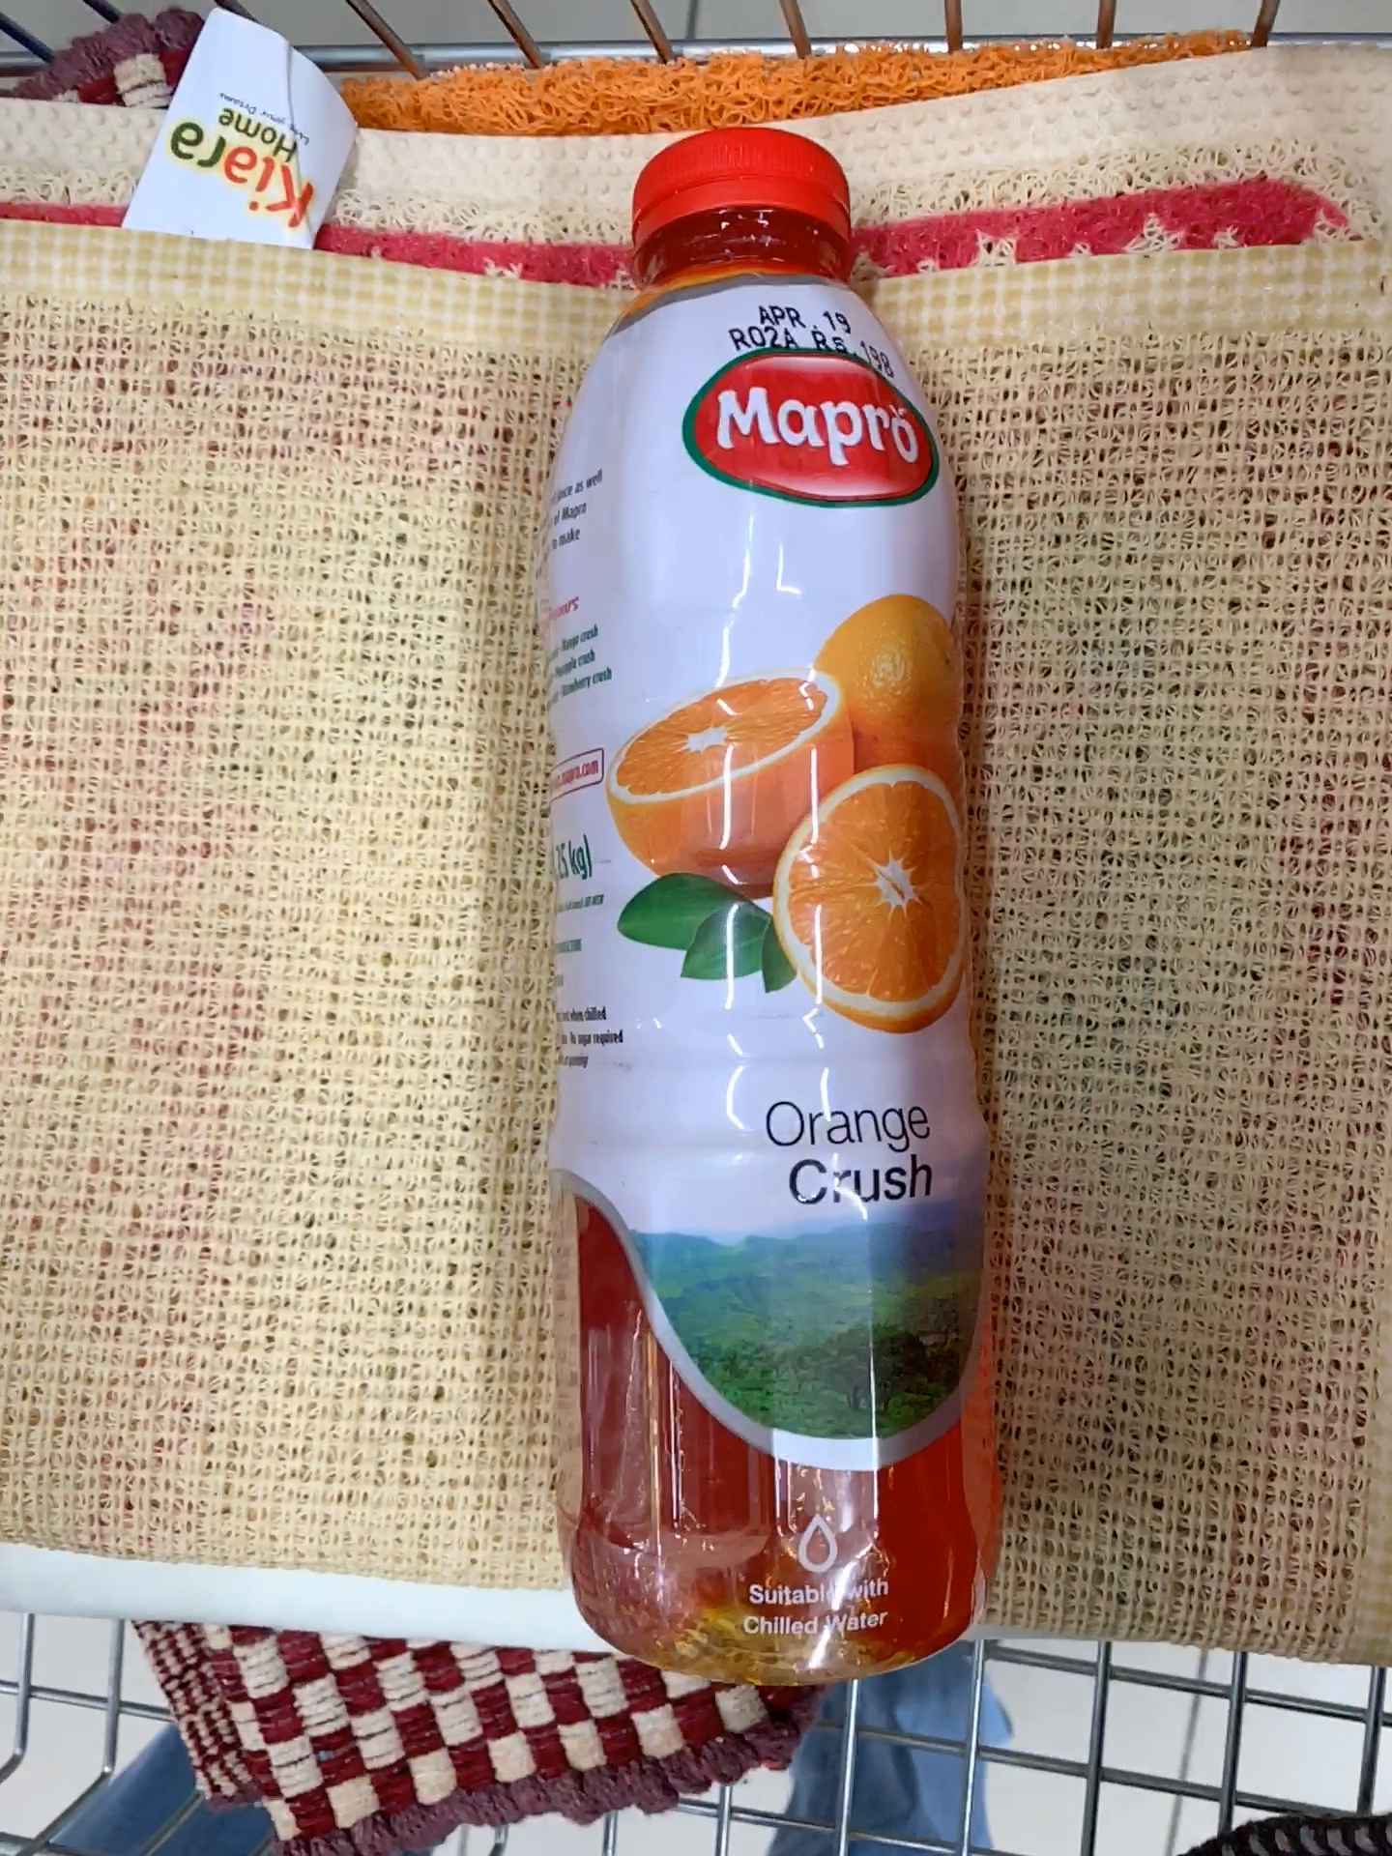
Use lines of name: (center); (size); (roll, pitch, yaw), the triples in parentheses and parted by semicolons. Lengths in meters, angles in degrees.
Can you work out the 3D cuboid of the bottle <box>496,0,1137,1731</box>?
bottle: (0.015, -0.015, 0.232); (0.080, 0.070, 0.240); (1, 88, -16)
